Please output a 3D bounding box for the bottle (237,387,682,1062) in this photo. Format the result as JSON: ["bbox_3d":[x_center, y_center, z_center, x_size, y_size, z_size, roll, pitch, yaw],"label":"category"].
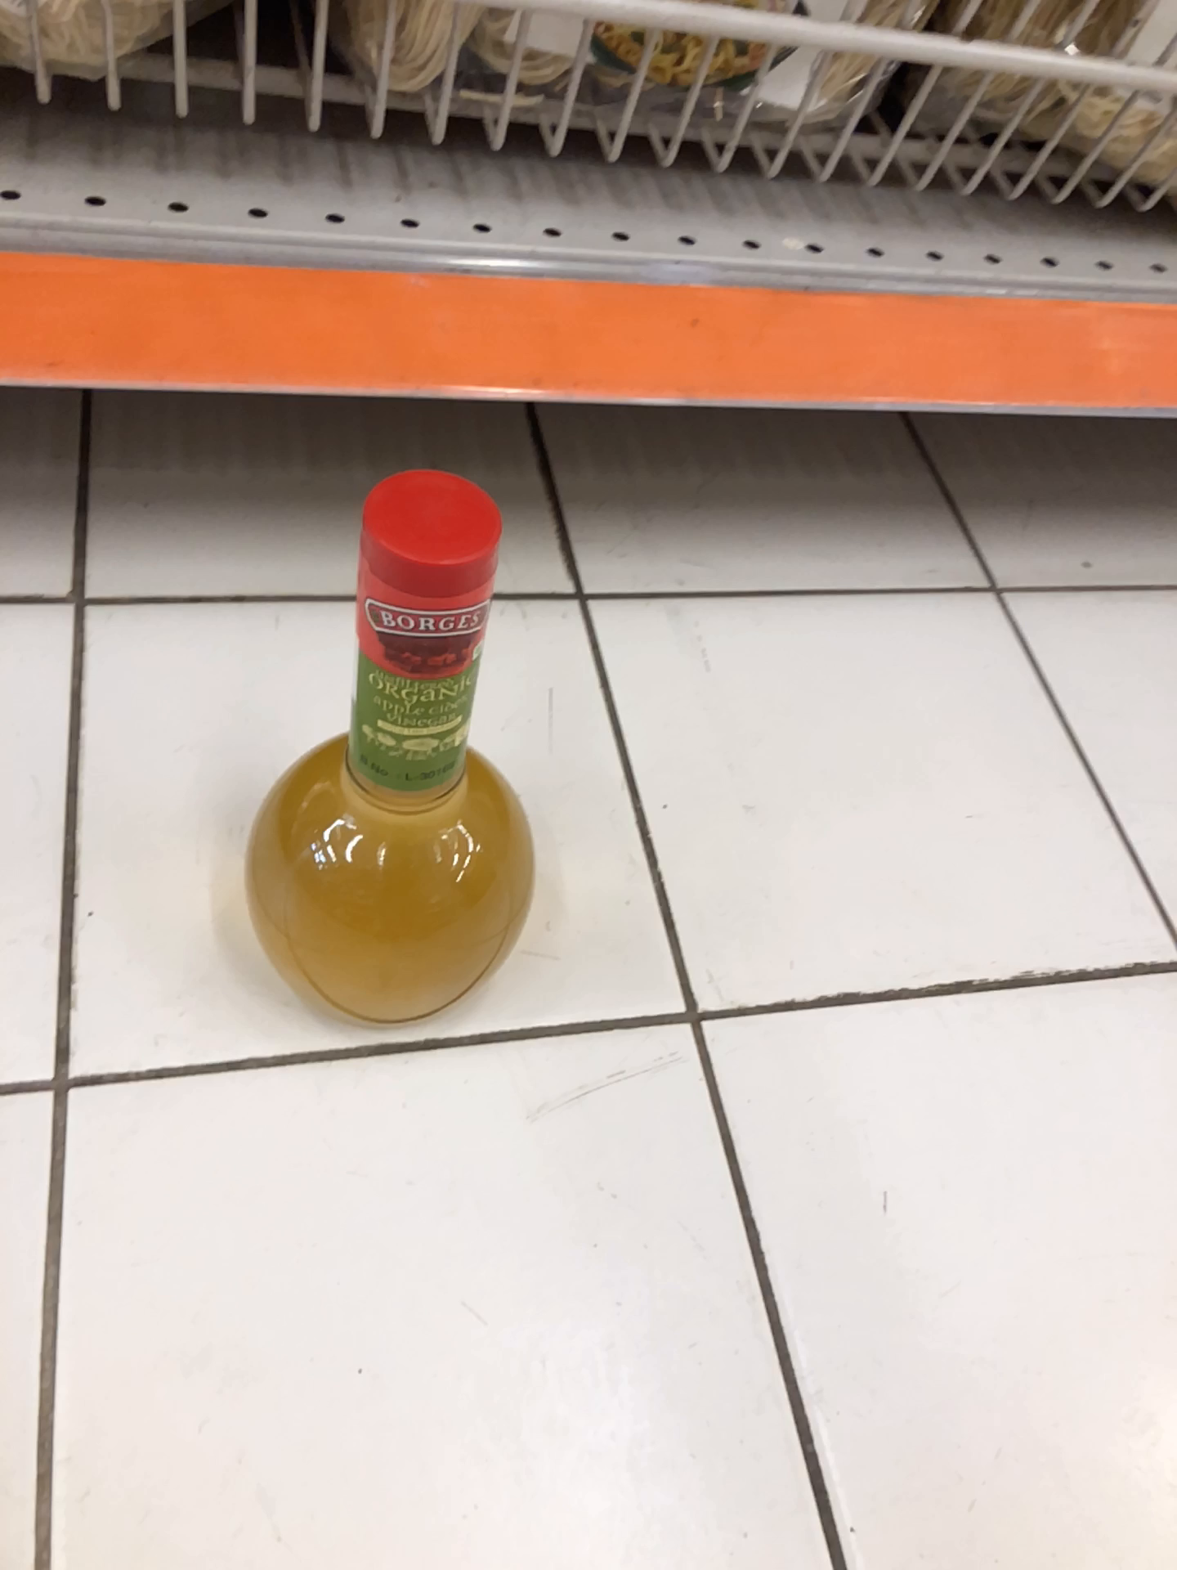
[{"bbox_3d":[-0.047,-0.007,0.354,0.090,0.169,0.090,7,51,-8],"label":"bottle"}]
